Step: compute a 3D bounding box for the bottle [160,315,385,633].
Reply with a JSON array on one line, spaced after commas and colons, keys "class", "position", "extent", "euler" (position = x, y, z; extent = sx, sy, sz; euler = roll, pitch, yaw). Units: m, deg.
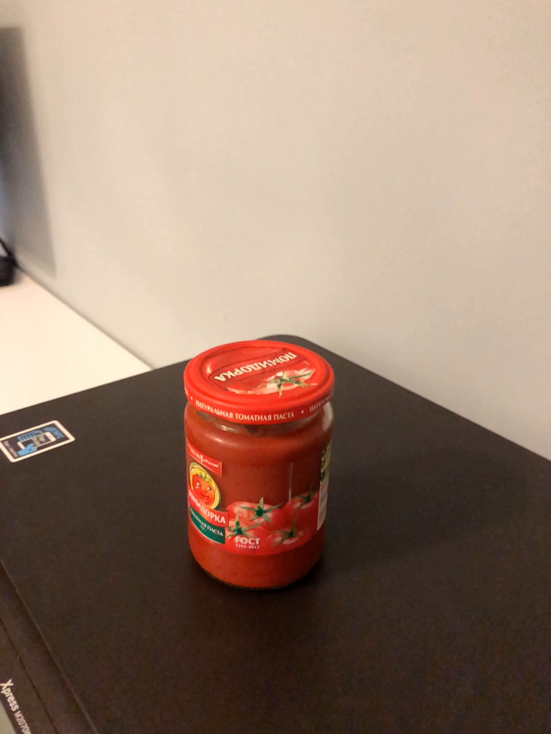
[{"class": "bottle", "position": [-0.006, 0.045, 0.291], "extent": [0.070, 0.109, 0.080], "euler": [-11, 29, -24]}]
